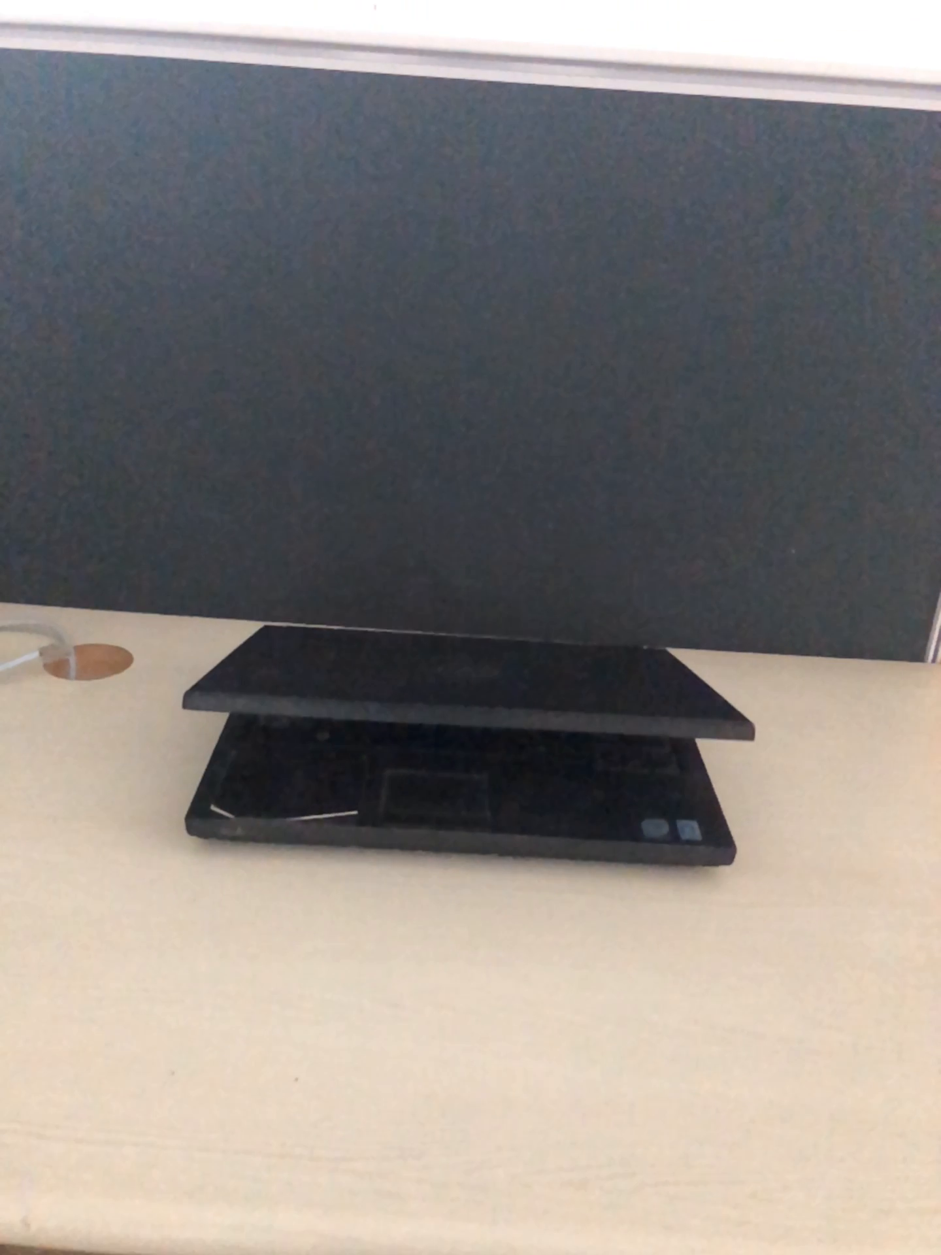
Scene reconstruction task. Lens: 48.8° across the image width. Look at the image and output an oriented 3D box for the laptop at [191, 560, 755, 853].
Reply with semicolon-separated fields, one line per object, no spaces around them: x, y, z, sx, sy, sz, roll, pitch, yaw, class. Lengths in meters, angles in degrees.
0.002;0.039;0.670;0.302;0.064;0.231;3;25;-2;laptop
